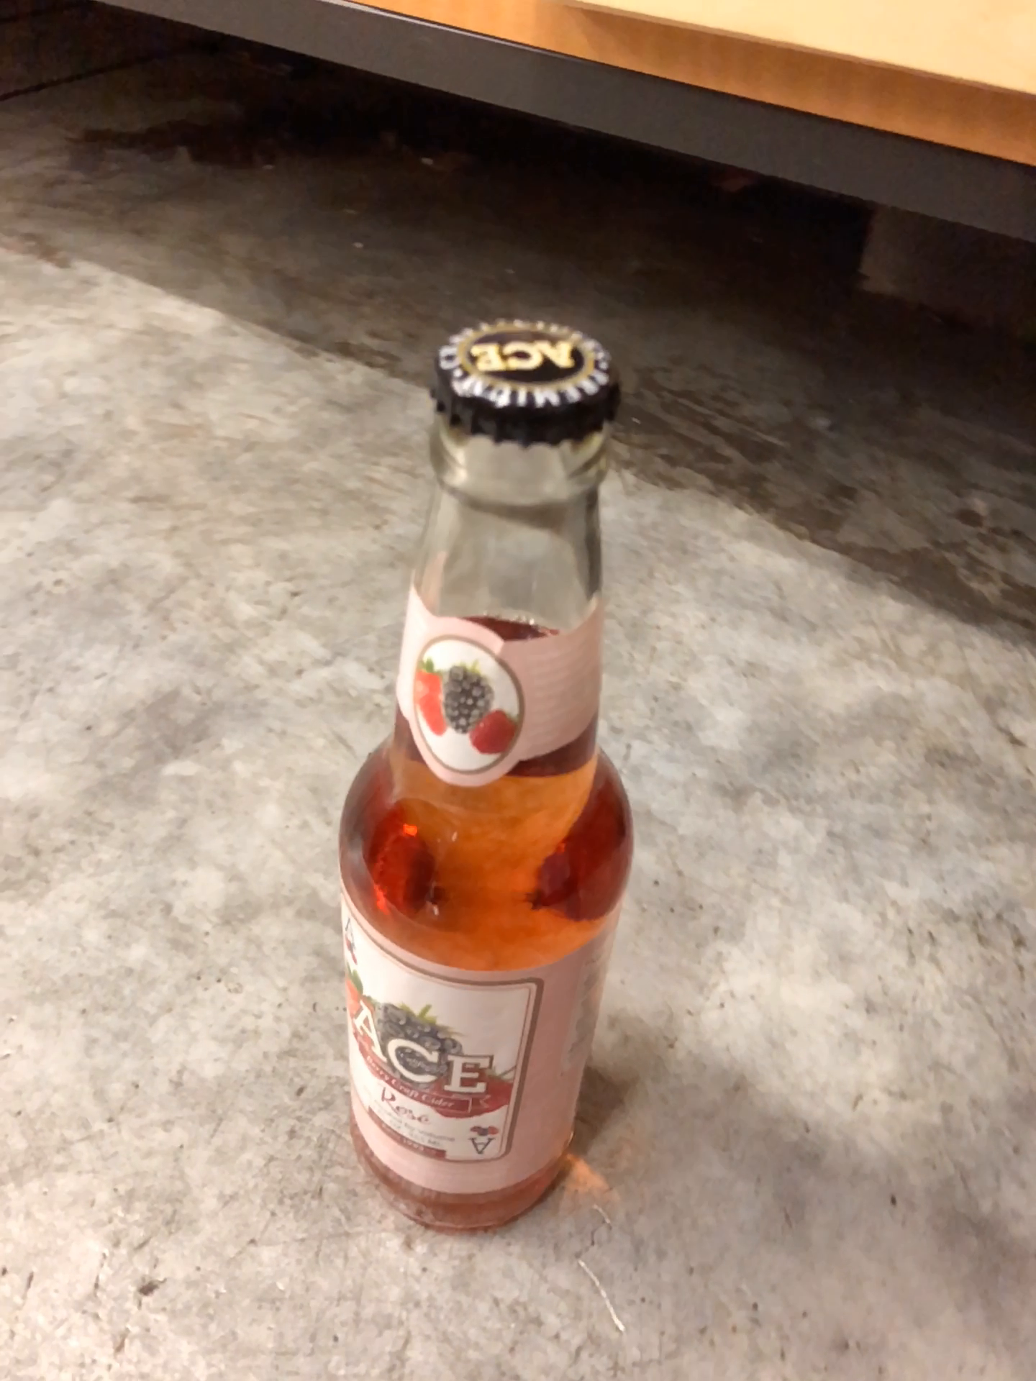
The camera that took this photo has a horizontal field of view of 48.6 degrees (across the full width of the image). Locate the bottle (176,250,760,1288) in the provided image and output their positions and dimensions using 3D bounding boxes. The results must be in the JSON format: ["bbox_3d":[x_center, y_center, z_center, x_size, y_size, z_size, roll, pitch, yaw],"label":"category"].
[{"bbox_3d":[-0.012,0.036,0.237,0.062,0.221,0.060,3,42,-2],"label":"bottle"}]
